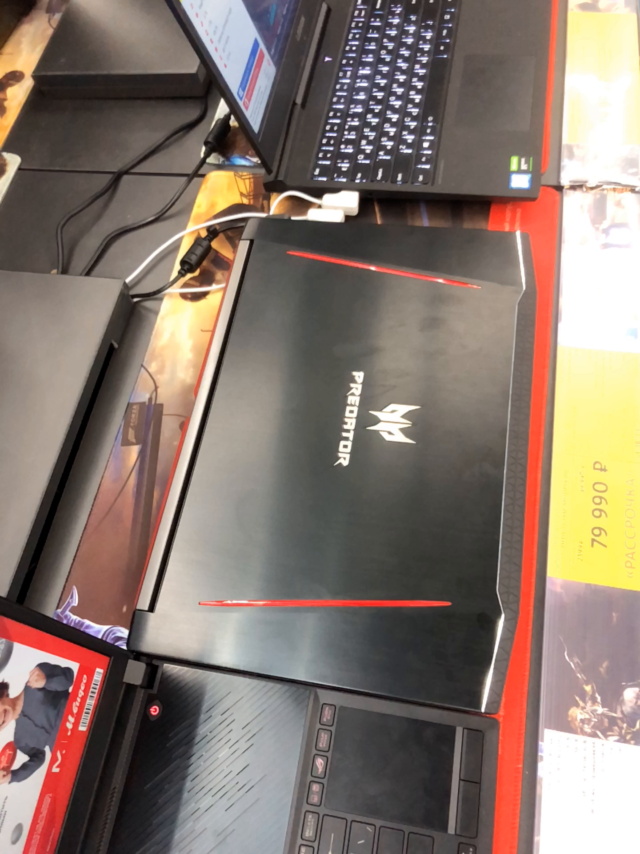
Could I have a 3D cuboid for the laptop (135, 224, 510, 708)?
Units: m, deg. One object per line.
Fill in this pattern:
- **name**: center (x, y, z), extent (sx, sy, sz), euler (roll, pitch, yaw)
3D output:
- **laptop**: center (0.019, -0.005, 0.539), extent (0.228, 0.004, 0.378), euler (6, 64, 10)
